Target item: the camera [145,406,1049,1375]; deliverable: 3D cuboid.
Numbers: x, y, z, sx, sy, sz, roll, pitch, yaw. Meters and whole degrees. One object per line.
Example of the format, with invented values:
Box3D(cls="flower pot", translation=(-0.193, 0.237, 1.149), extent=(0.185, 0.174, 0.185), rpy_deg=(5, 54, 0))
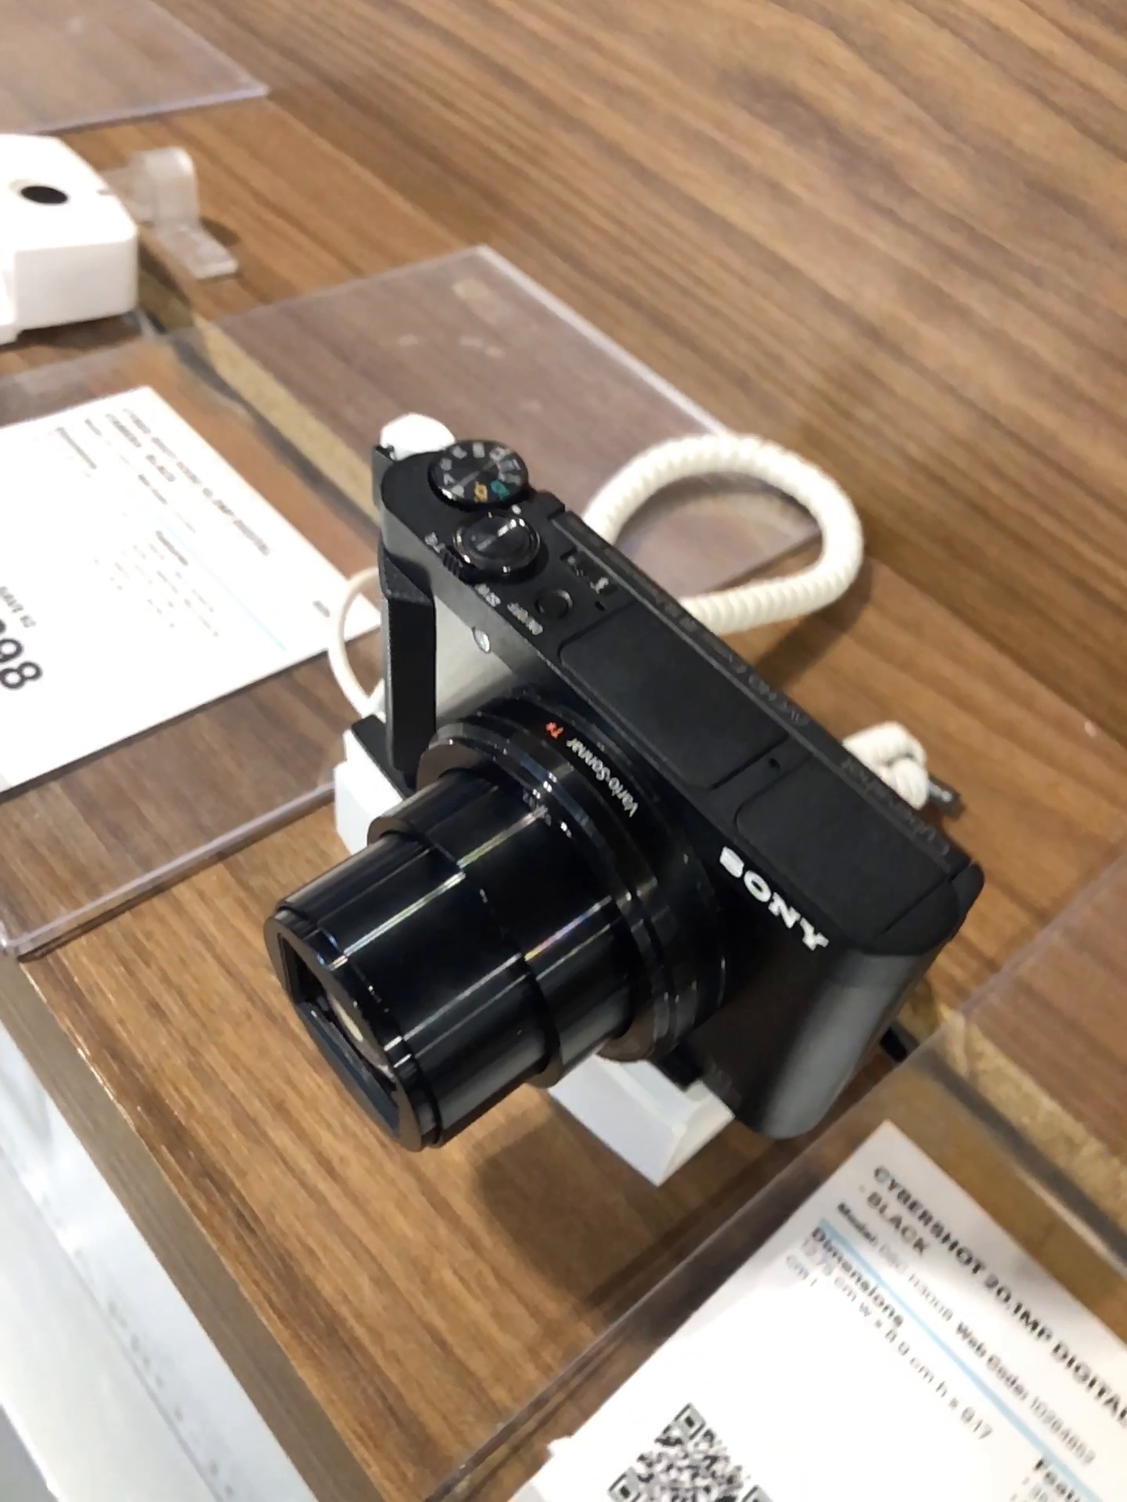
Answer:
Box3D(cls="camera", translation=(-0.004, 0.015, 0.178), extent=(0.060, 0.070, 0.100), rpy_deg=(-28, 59, -34))
